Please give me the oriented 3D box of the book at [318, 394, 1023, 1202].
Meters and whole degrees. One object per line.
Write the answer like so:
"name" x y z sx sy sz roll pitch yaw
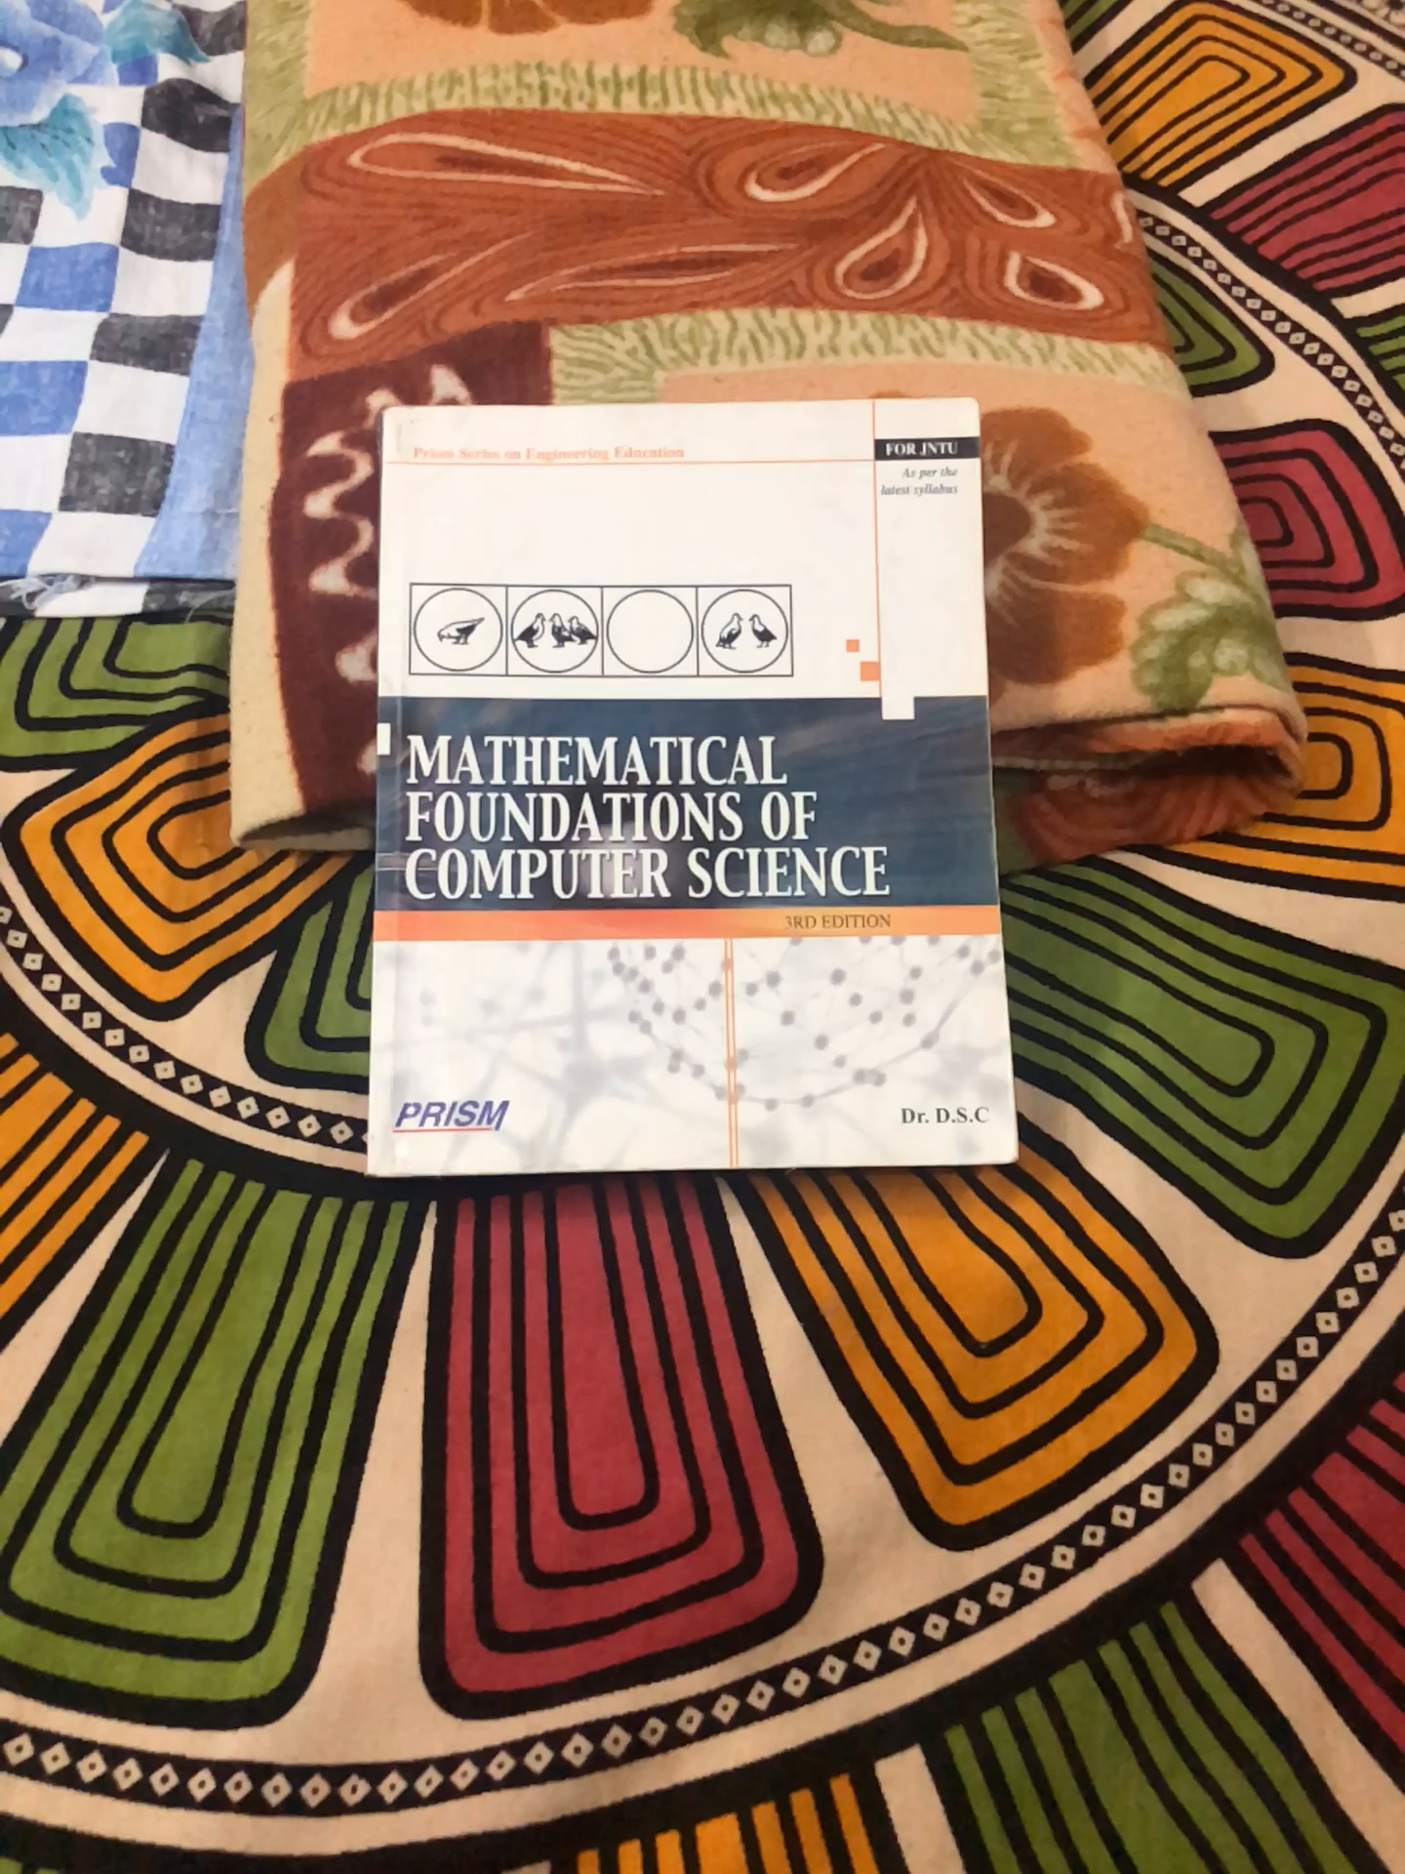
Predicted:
"book" -0.012 -0.041 0.459 0.190 0.050 0.230 -1 81 -3
